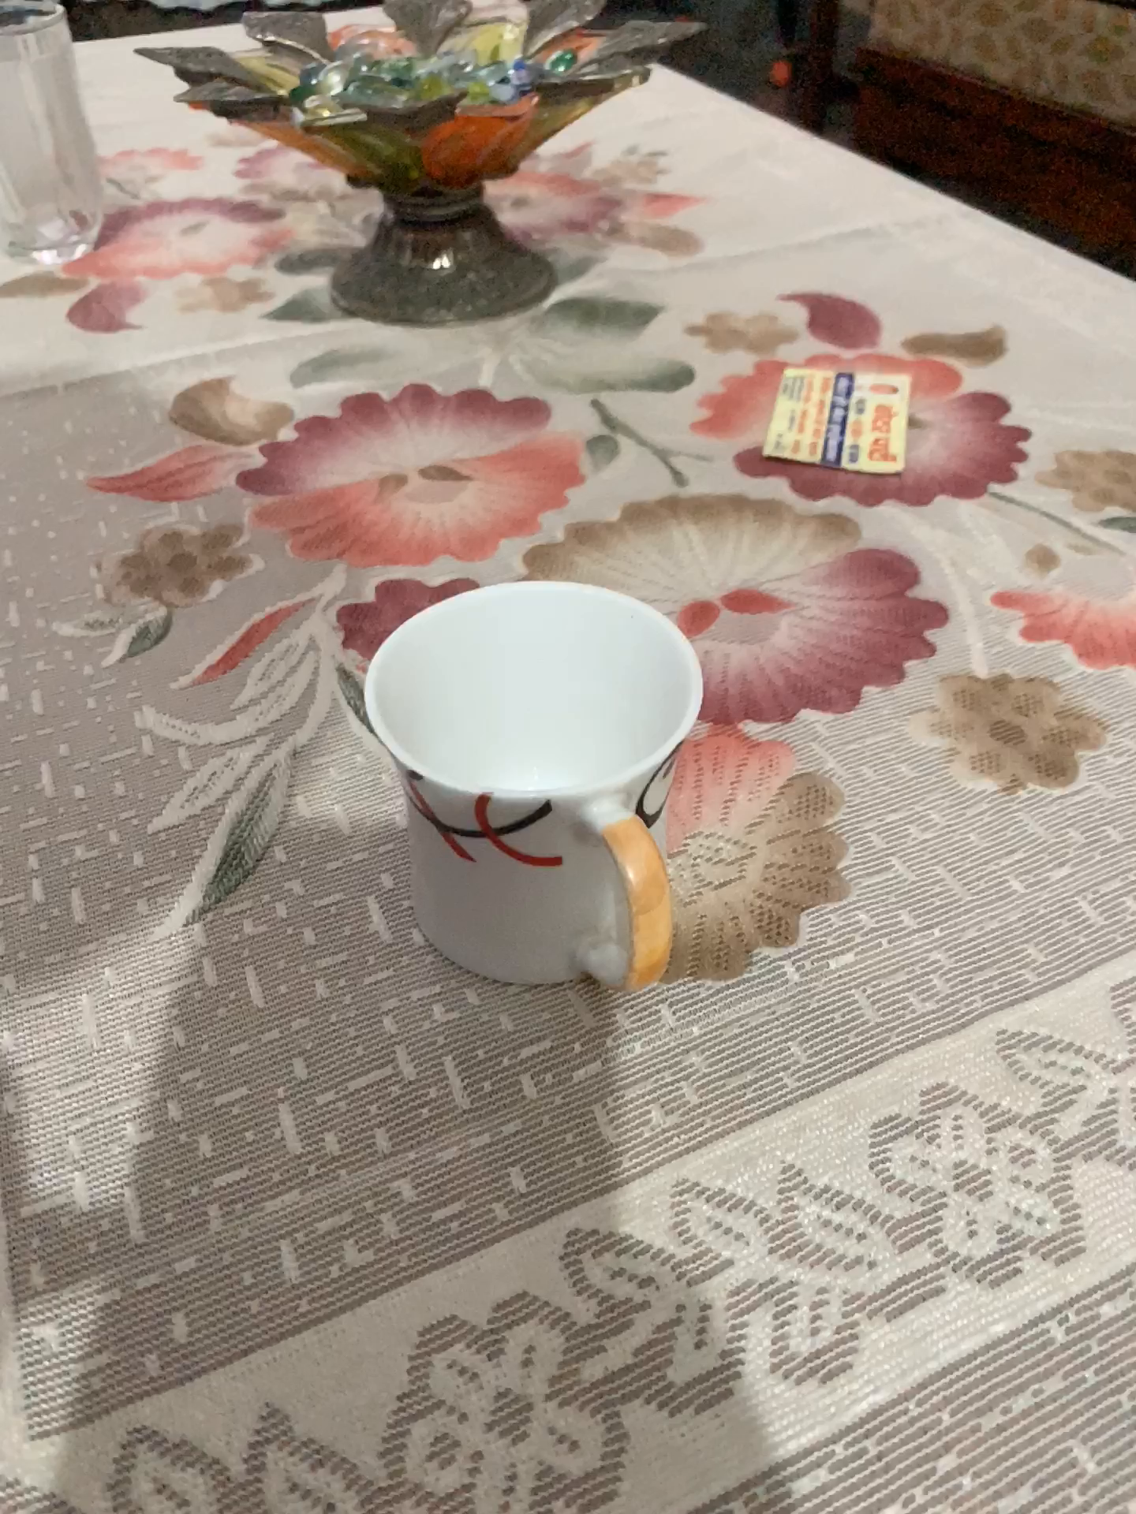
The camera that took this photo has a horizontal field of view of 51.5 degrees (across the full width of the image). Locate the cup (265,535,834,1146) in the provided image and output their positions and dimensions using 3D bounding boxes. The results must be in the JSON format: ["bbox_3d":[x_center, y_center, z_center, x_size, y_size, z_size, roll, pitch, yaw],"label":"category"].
[{"bbox_3d":[-0.007,0.011,0.238,0.070,0.060,0.090,-22,46,-21],"label":"cup"}]
